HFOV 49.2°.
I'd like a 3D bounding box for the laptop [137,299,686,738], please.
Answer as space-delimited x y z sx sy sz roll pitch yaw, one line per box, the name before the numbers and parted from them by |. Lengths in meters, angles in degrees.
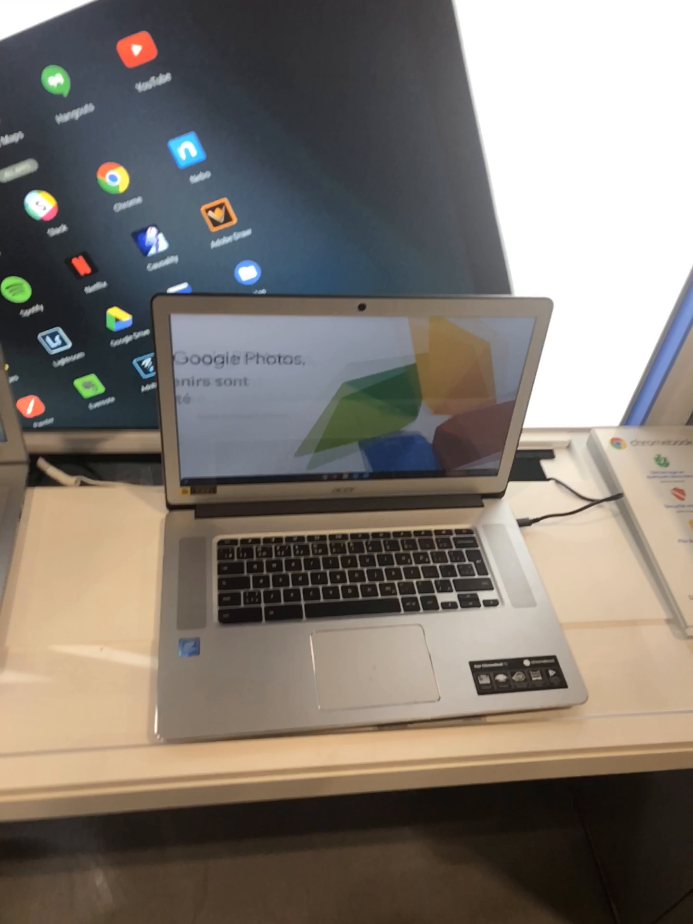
laptop | 0.020 0.037 0.675 0.371 0.242 0.283 -2 44 -11
